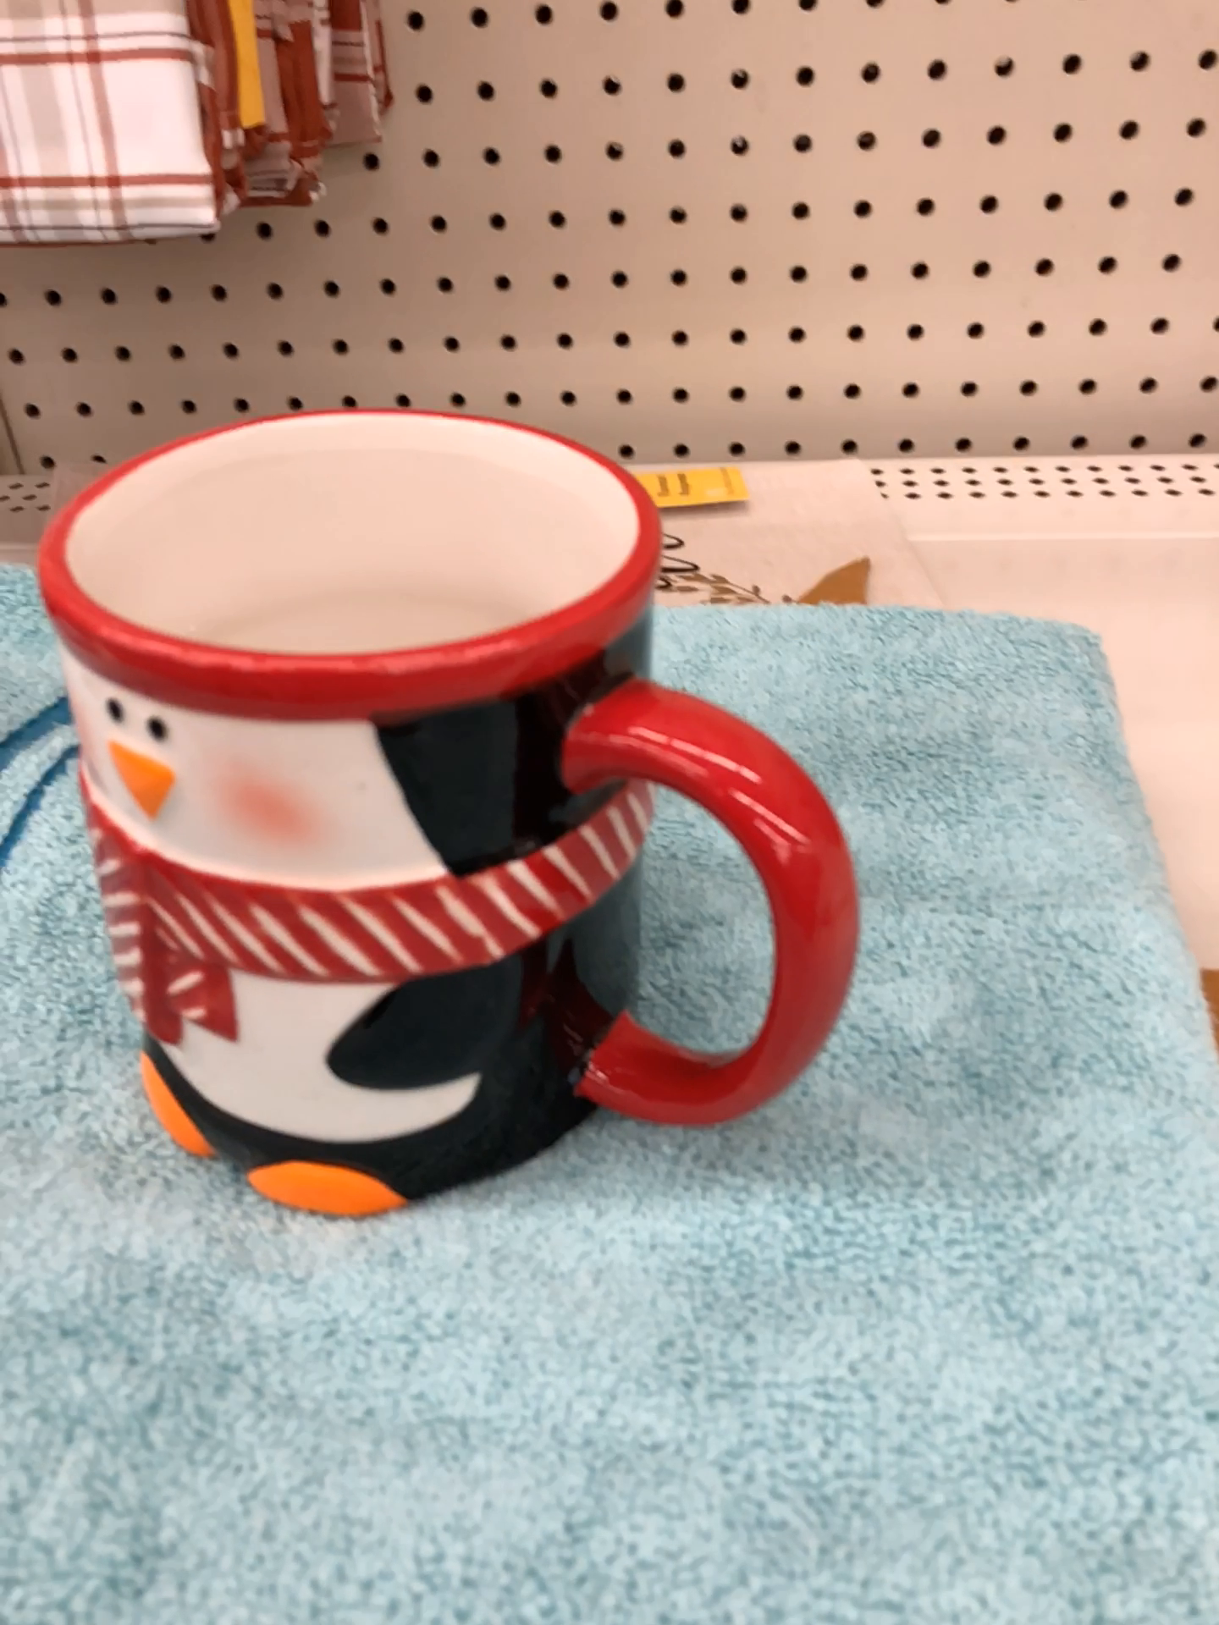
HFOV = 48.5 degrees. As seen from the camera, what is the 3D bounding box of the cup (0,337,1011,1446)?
[{"bbox_3d":[-0.024,0.001,0.217,0.130,0.110,0.090,21,40,25],"label":"cup"}]
